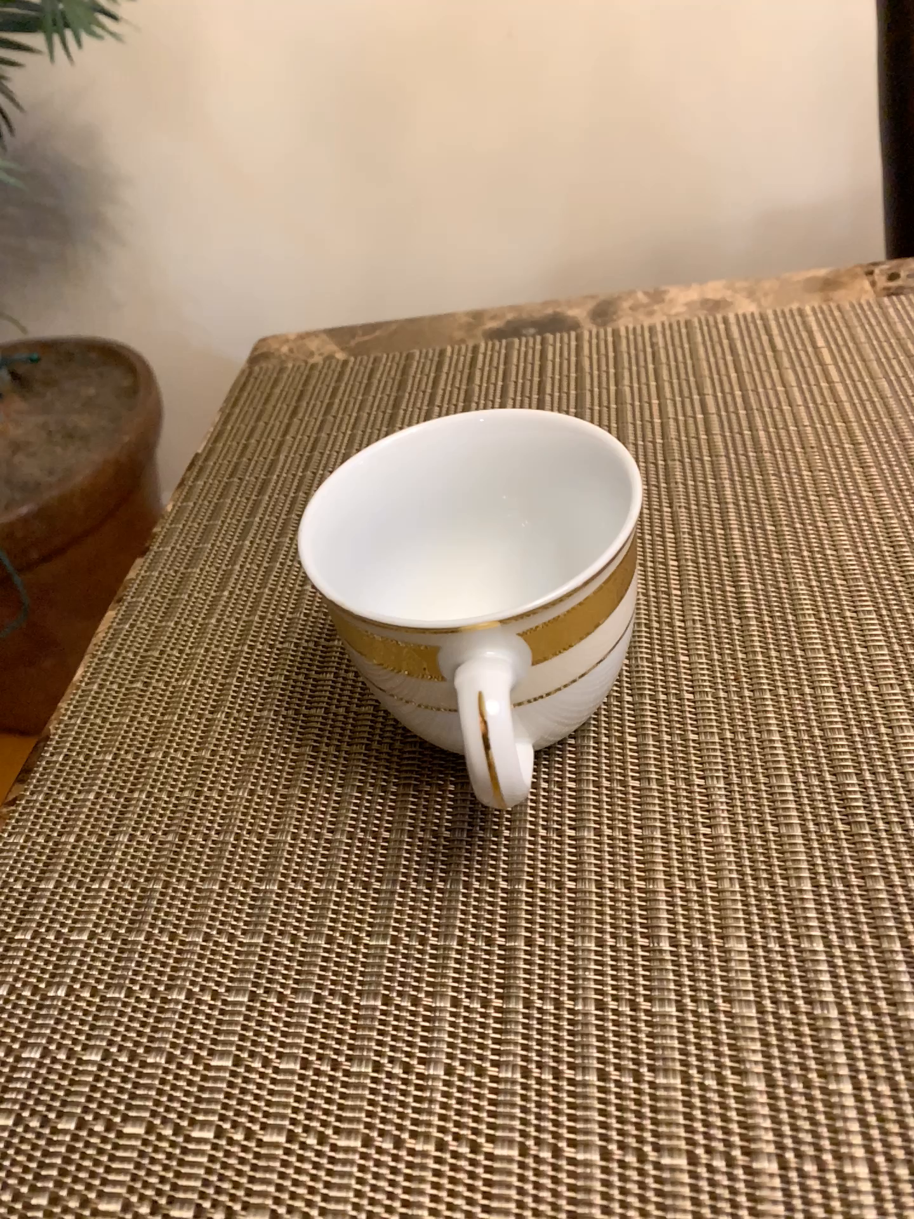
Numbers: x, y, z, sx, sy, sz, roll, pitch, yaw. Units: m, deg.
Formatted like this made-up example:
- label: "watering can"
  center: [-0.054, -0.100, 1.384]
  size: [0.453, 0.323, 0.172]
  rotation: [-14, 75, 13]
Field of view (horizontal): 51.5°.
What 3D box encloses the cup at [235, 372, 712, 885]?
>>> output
- label: "cup"
  center: [0.008, 0.000, 0.218]
  size: [0.082, 0.055, 0.104]
  rotation: [-5, 41, 8]
